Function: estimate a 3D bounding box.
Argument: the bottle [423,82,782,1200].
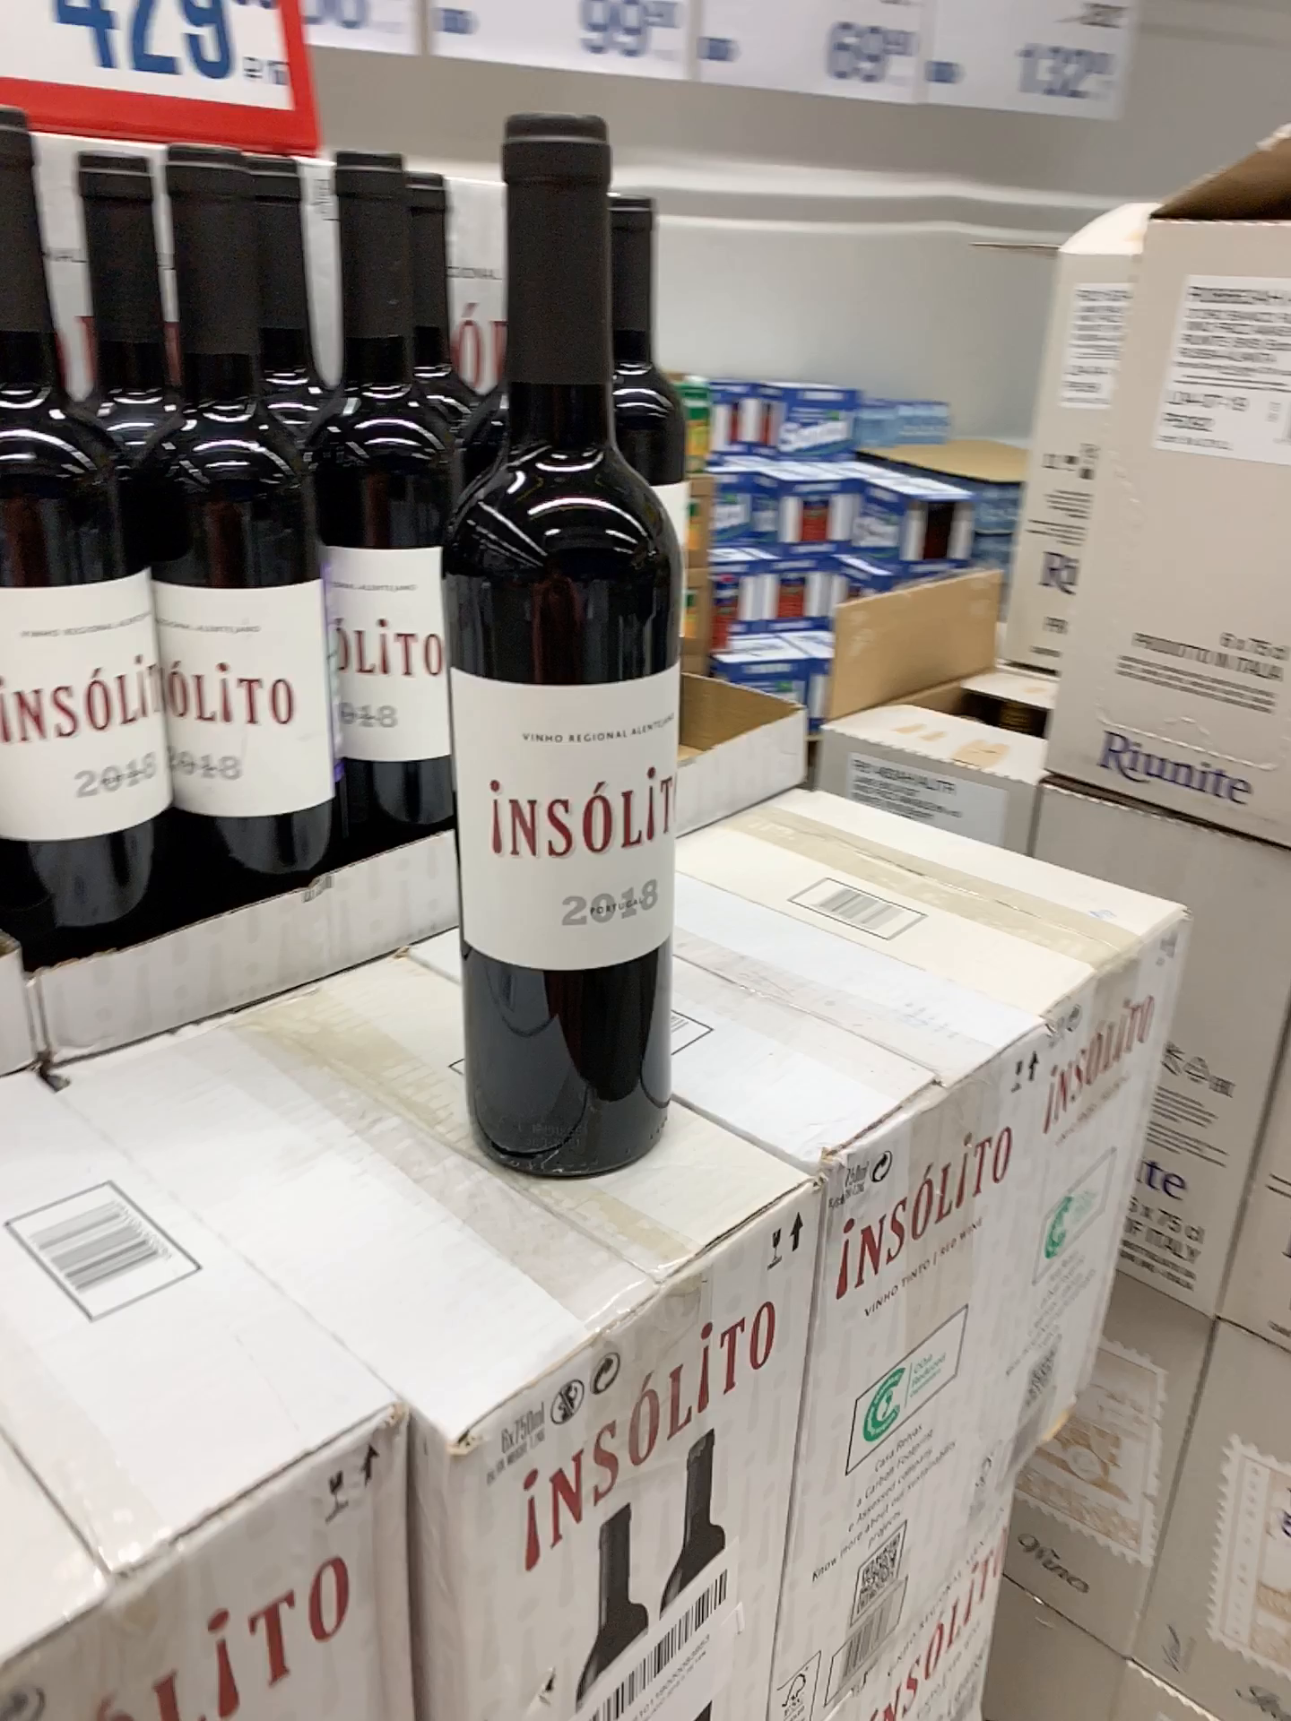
[{"bbox_3d":[-0.023,-0.053,0.409,0.077,0.310,0.080,3,22,-1],"label":"bottle"}]
